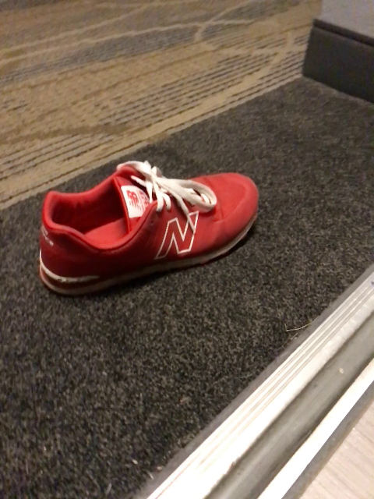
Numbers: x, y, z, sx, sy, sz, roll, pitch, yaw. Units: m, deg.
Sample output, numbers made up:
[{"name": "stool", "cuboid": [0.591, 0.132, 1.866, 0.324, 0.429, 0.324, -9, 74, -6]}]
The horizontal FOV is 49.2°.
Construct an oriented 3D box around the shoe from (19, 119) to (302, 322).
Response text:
[{"name": "shoe", "cuboid": [-0.021, -0.041, 0.434, 0.257, 0.107, 0.101, -20, 49, -21]}]
